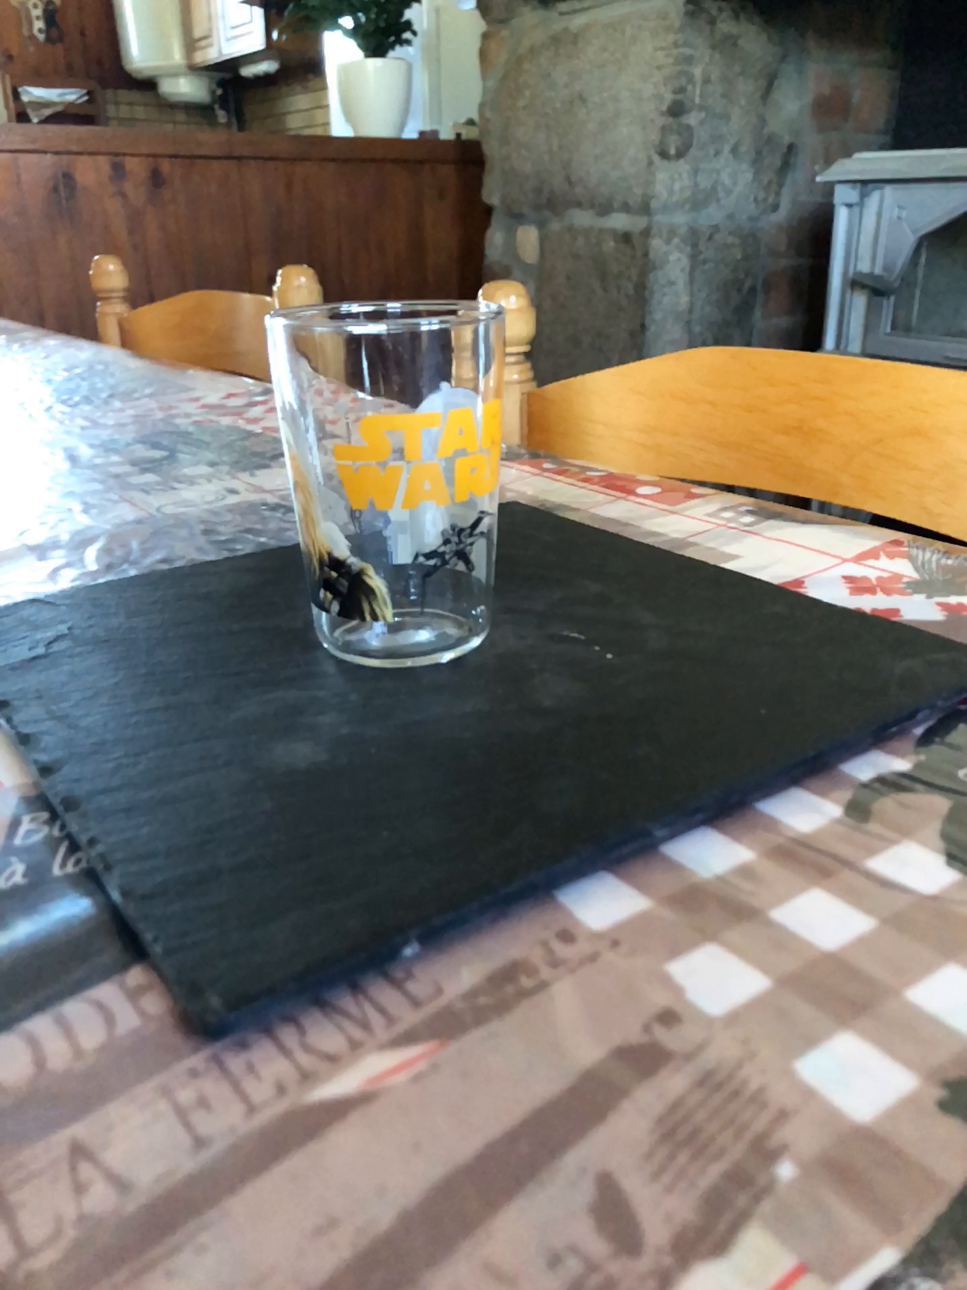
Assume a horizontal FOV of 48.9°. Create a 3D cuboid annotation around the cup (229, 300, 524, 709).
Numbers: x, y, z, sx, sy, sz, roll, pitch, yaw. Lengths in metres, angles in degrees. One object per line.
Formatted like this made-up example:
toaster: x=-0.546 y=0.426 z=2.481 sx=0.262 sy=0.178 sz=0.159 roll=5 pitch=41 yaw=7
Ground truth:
cup: x=-0.027 y=-0.043 z=0.304 sx=0.070 sy=0.100 sz=0.070 roll=-1 pitch=21 yaw=0
